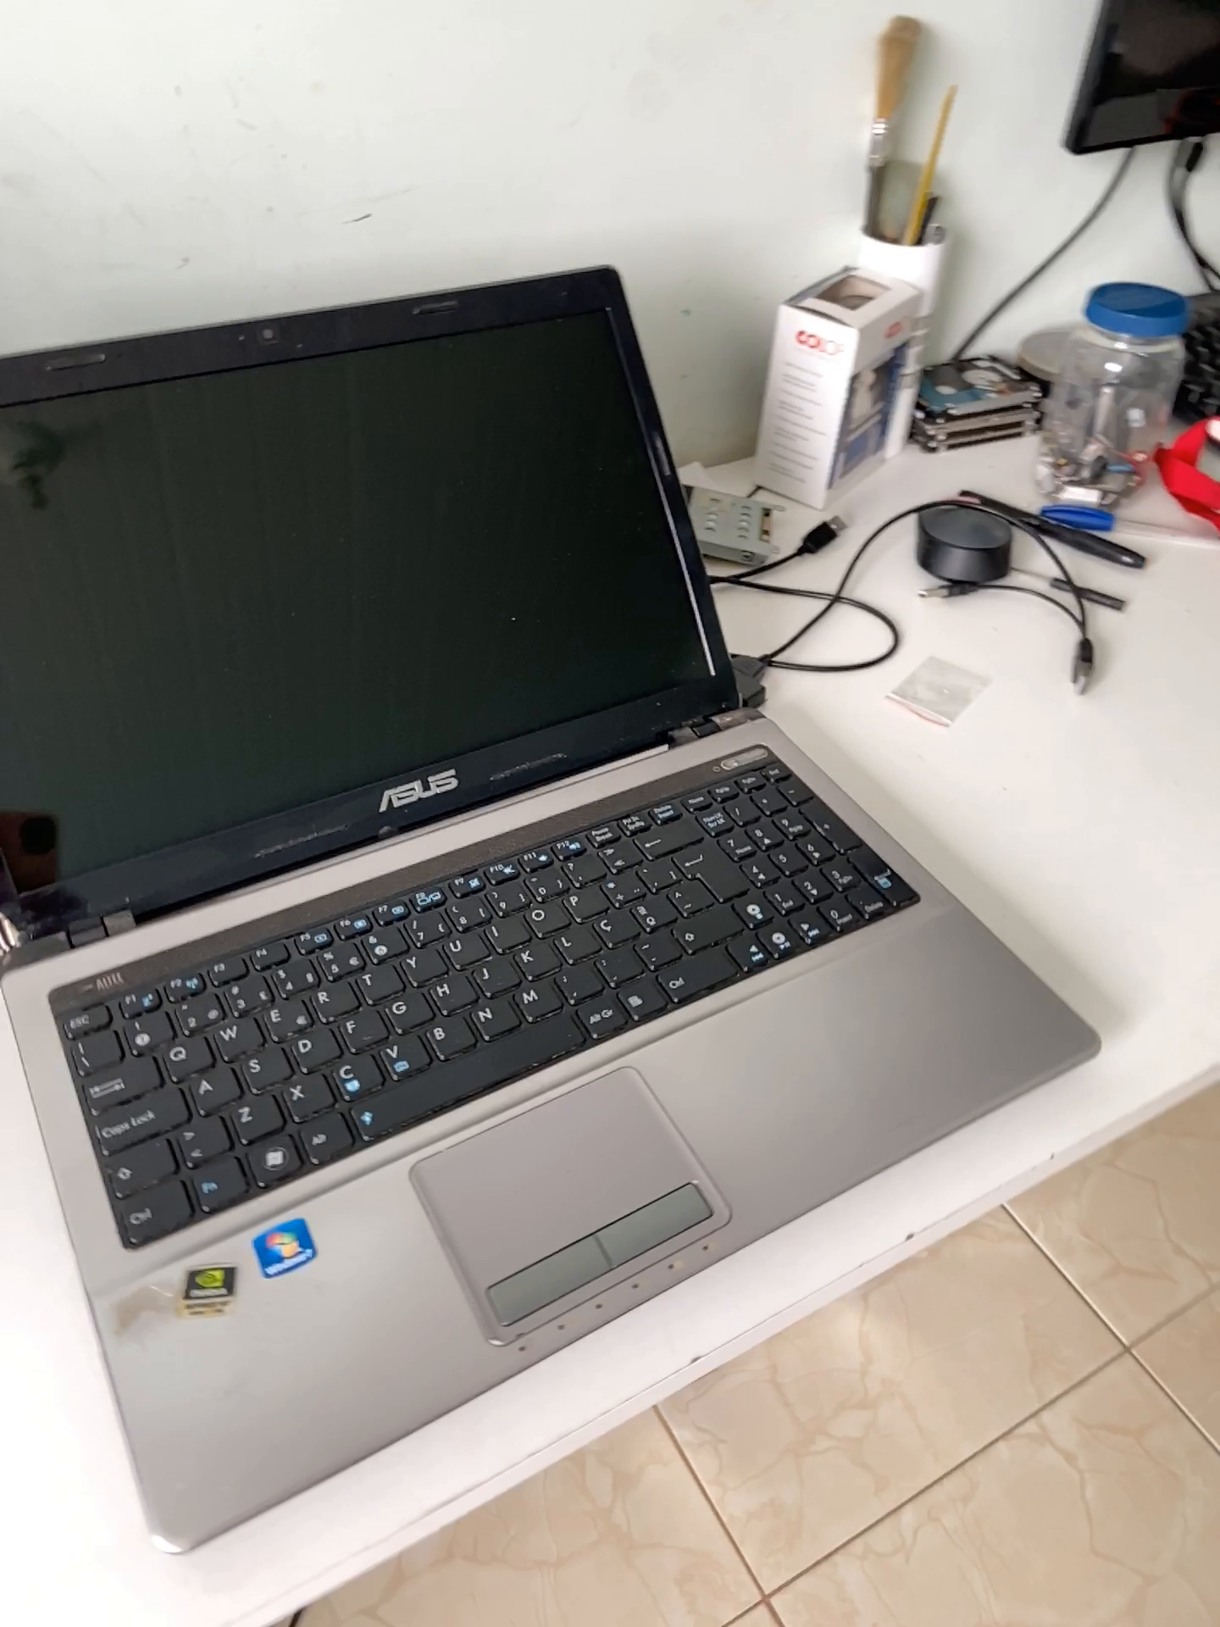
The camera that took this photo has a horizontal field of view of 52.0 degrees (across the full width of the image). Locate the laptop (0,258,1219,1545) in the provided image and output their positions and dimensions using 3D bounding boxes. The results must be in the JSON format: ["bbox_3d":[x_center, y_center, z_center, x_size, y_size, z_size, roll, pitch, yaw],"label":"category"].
[{"bbox_3d":[-0.068,-0.039,0.505,0.377,0.179,0.417,-19,47,-23],"label":"laptop"}]
